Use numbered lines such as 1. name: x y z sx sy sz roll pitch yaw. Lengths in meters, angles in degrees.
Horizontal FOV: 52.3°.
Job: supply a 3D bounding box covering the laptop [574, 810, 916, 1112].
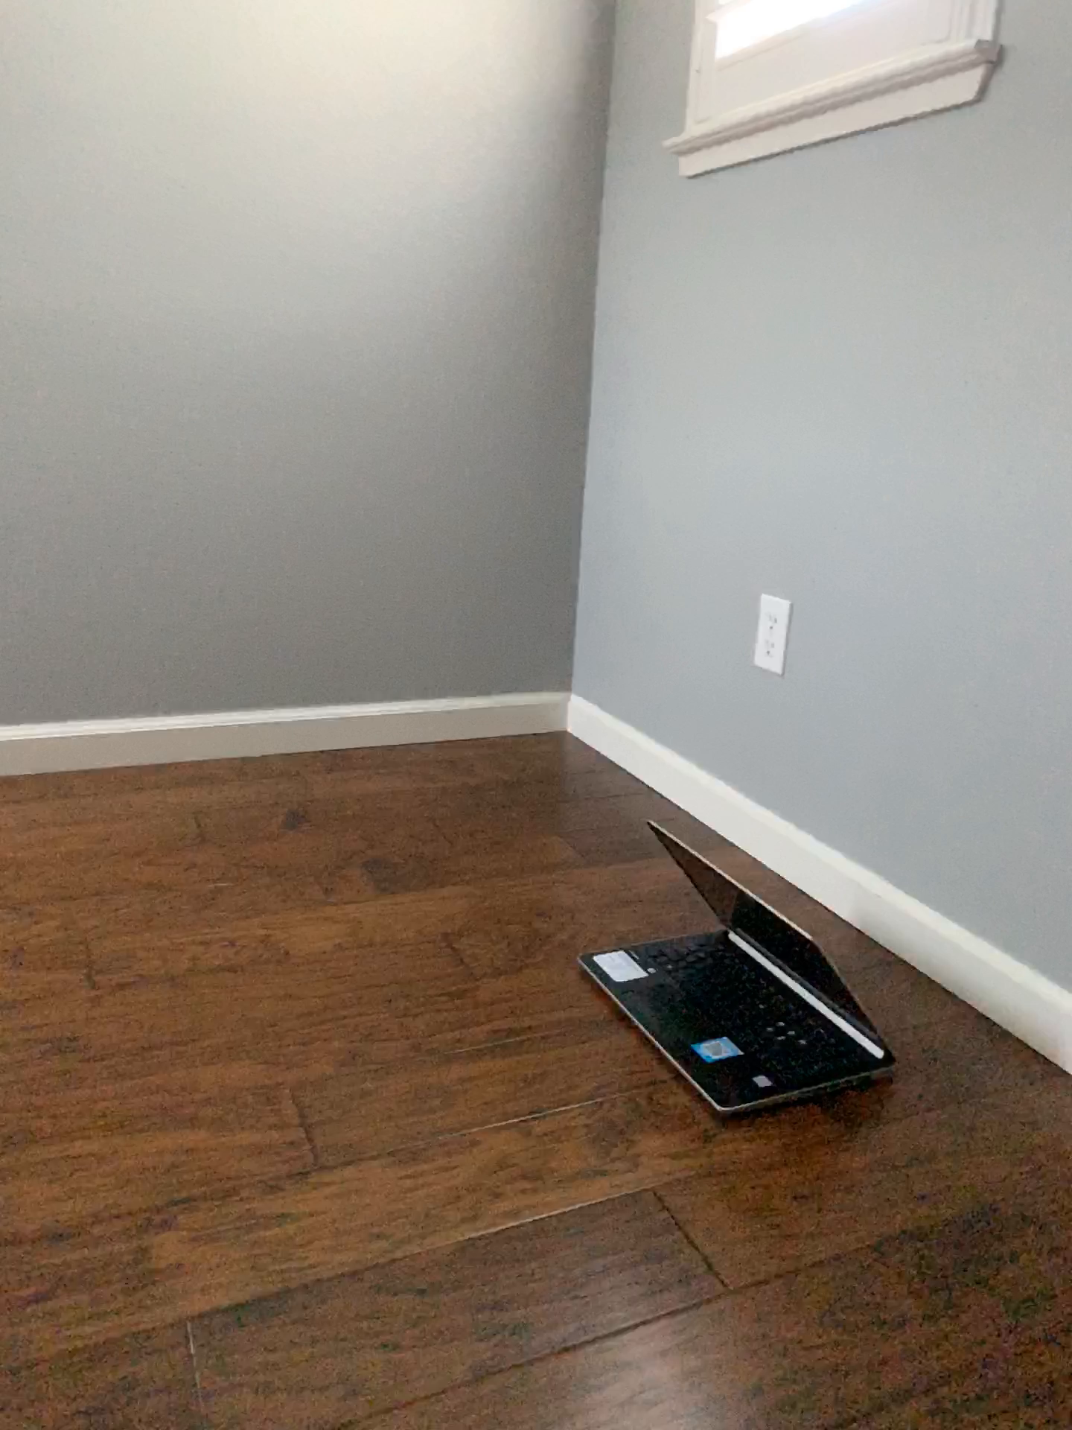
1. laptop: 0.216 0.252 1.222 0.219 0.169 0.318 -4 17 -25
